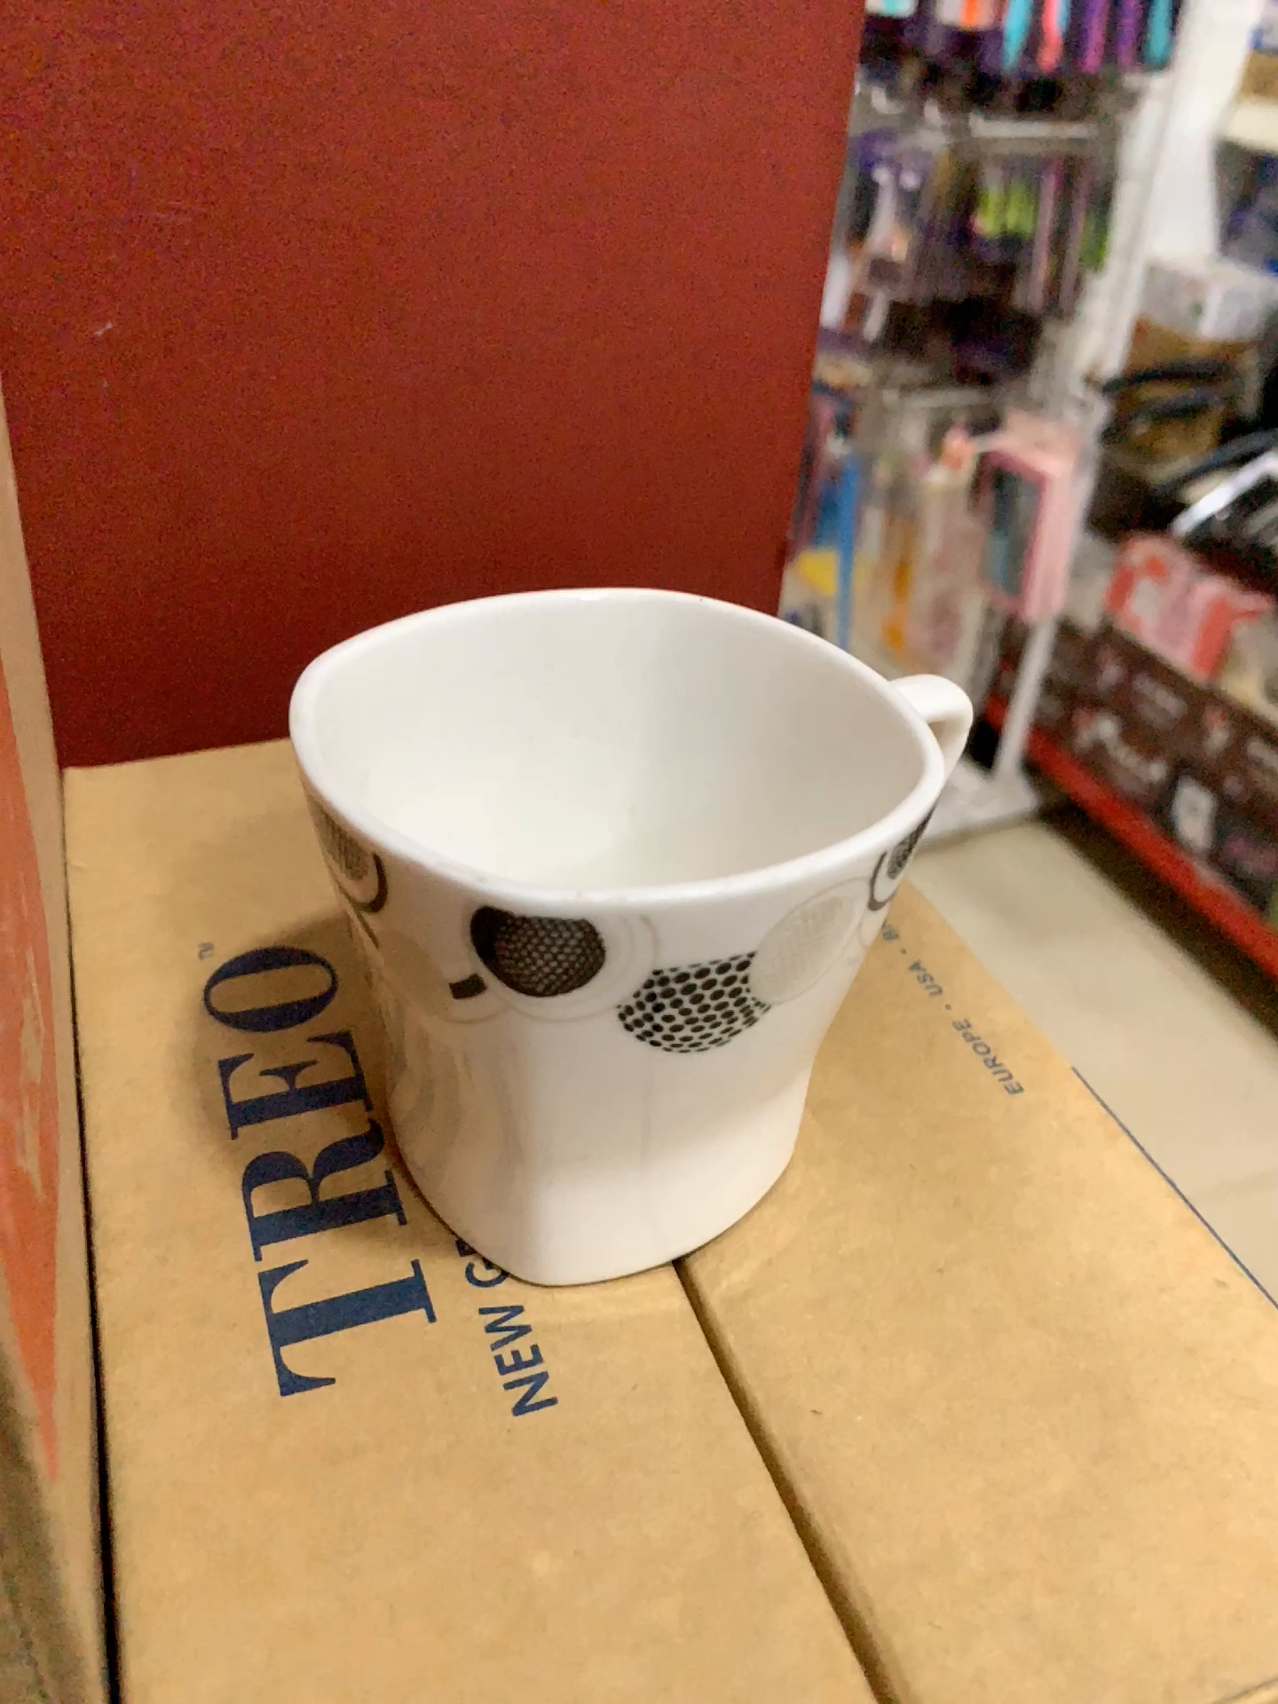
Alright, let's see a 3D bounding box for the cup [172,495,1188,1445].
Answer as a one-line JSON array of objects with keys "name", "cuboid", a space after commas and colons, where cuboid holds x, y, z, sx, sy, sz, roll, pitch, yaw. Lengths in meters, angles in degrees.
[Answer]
[{"name": "cup", "cuboid": [0.005, 0.004, 0.159, 0.090, 0.060, 0.060, -23, 43, -34]}]
